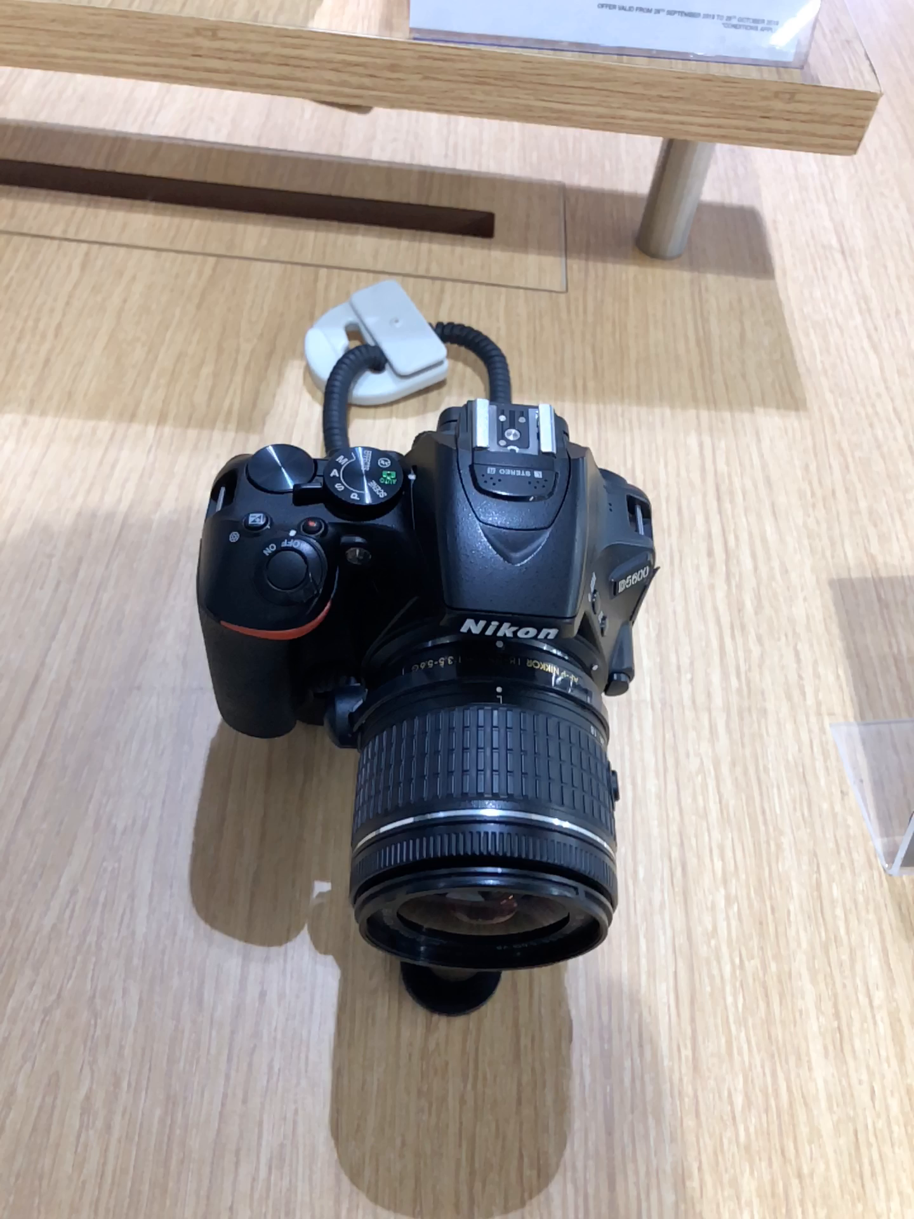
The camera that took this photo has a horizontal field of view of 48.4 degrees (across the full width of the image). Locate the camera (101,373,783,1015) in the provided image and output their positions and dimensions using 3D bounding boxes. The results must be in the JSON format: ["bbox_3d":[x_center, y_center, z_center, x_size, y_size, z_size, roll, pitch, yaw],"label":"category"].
[{"bbox_3d":[-0.004,0.018,0.245,0.120,0.070,0.131,4,53,-4],"label":"camera"}]
